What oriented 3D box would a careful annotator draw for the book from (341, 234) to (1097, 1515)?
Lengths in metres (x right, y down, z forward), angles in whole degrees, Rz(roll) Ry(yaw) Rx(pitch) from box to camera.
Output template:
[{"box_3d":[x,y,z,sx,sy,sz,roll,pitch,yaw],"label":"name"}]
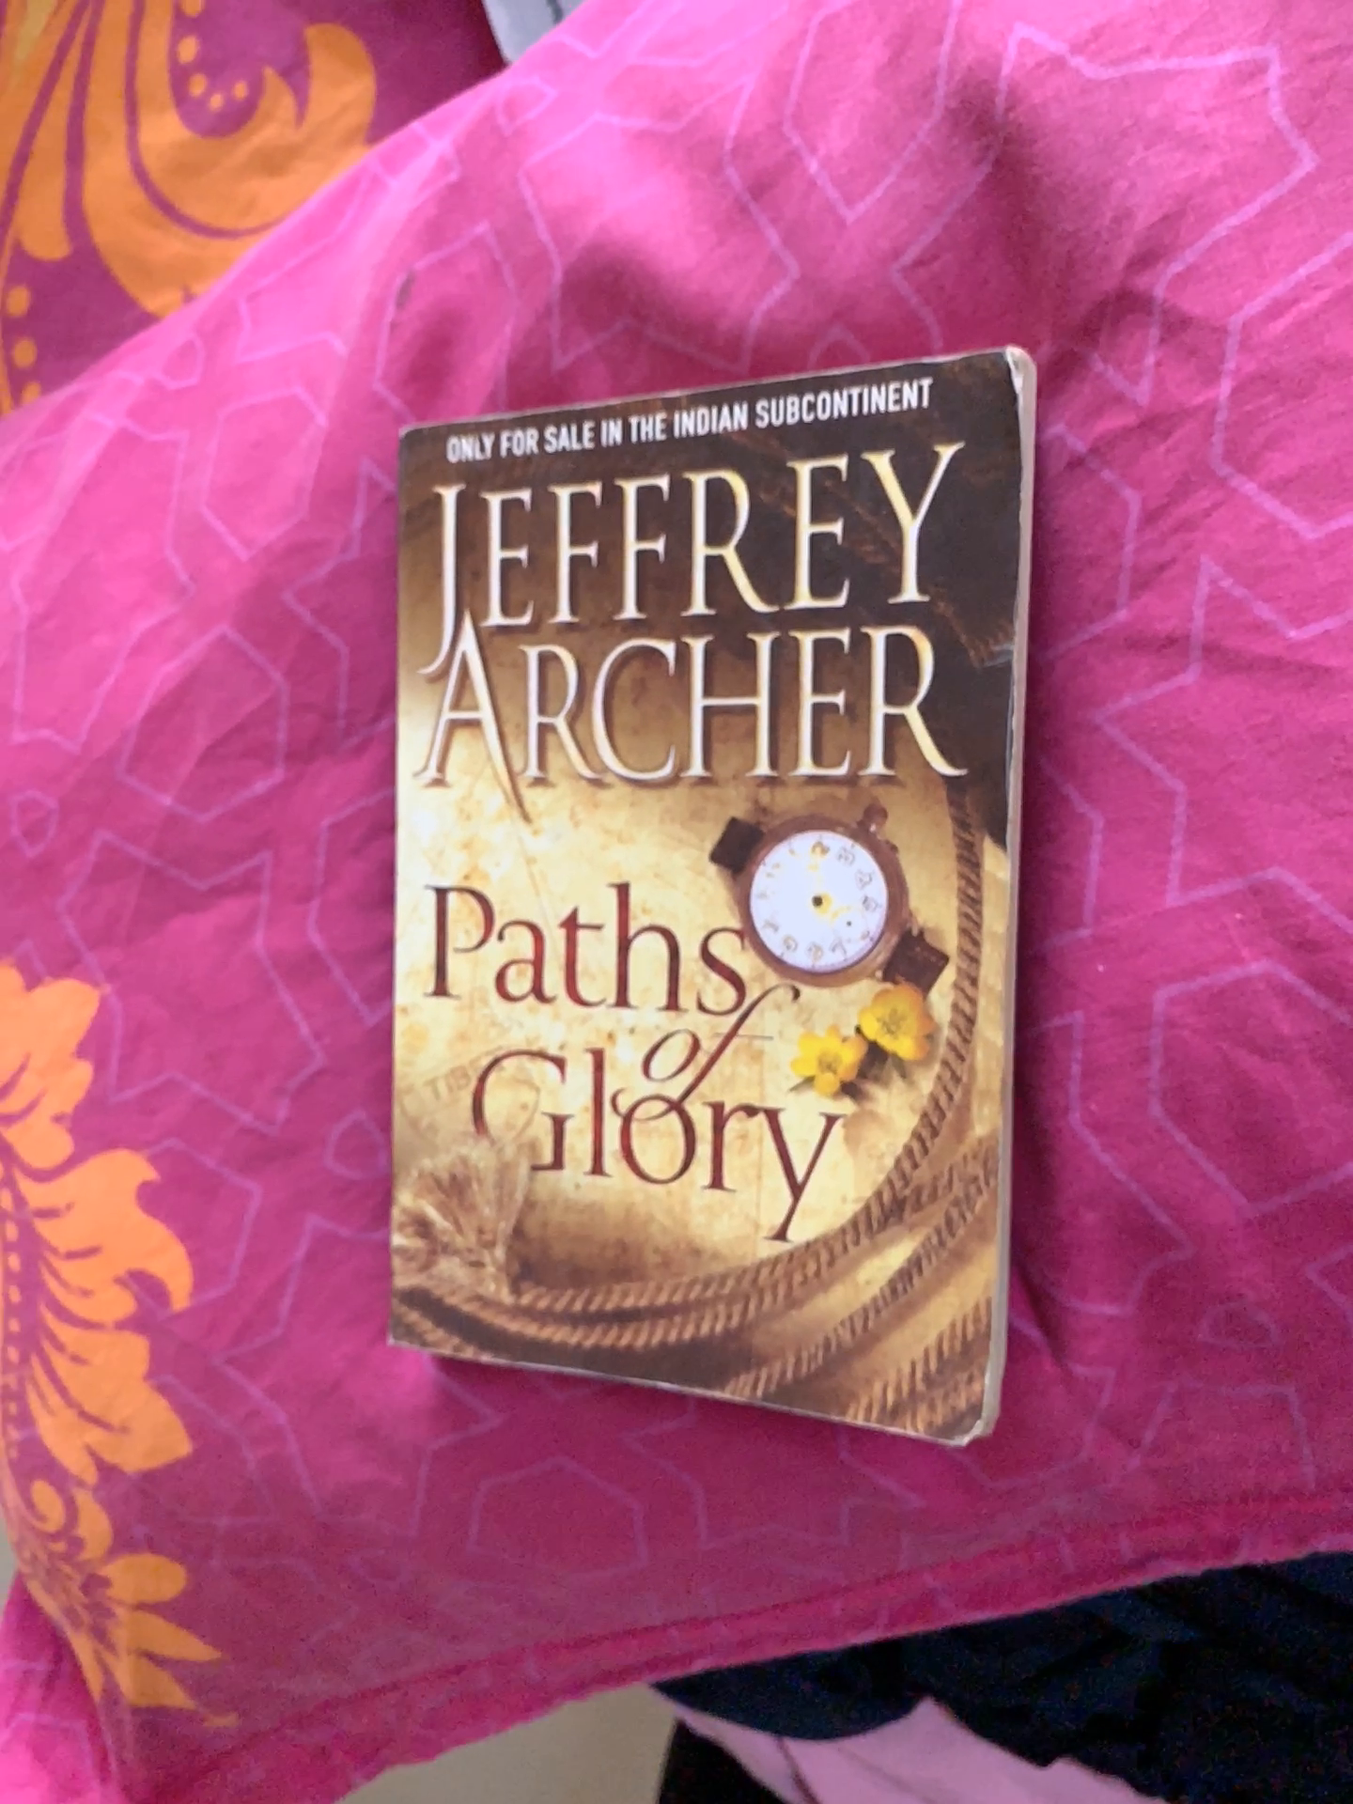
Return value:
[{"box_3d":[0.004,-0.005,0.244,0.120,0.040,0.180,3,94,27],"label":"book"}]
